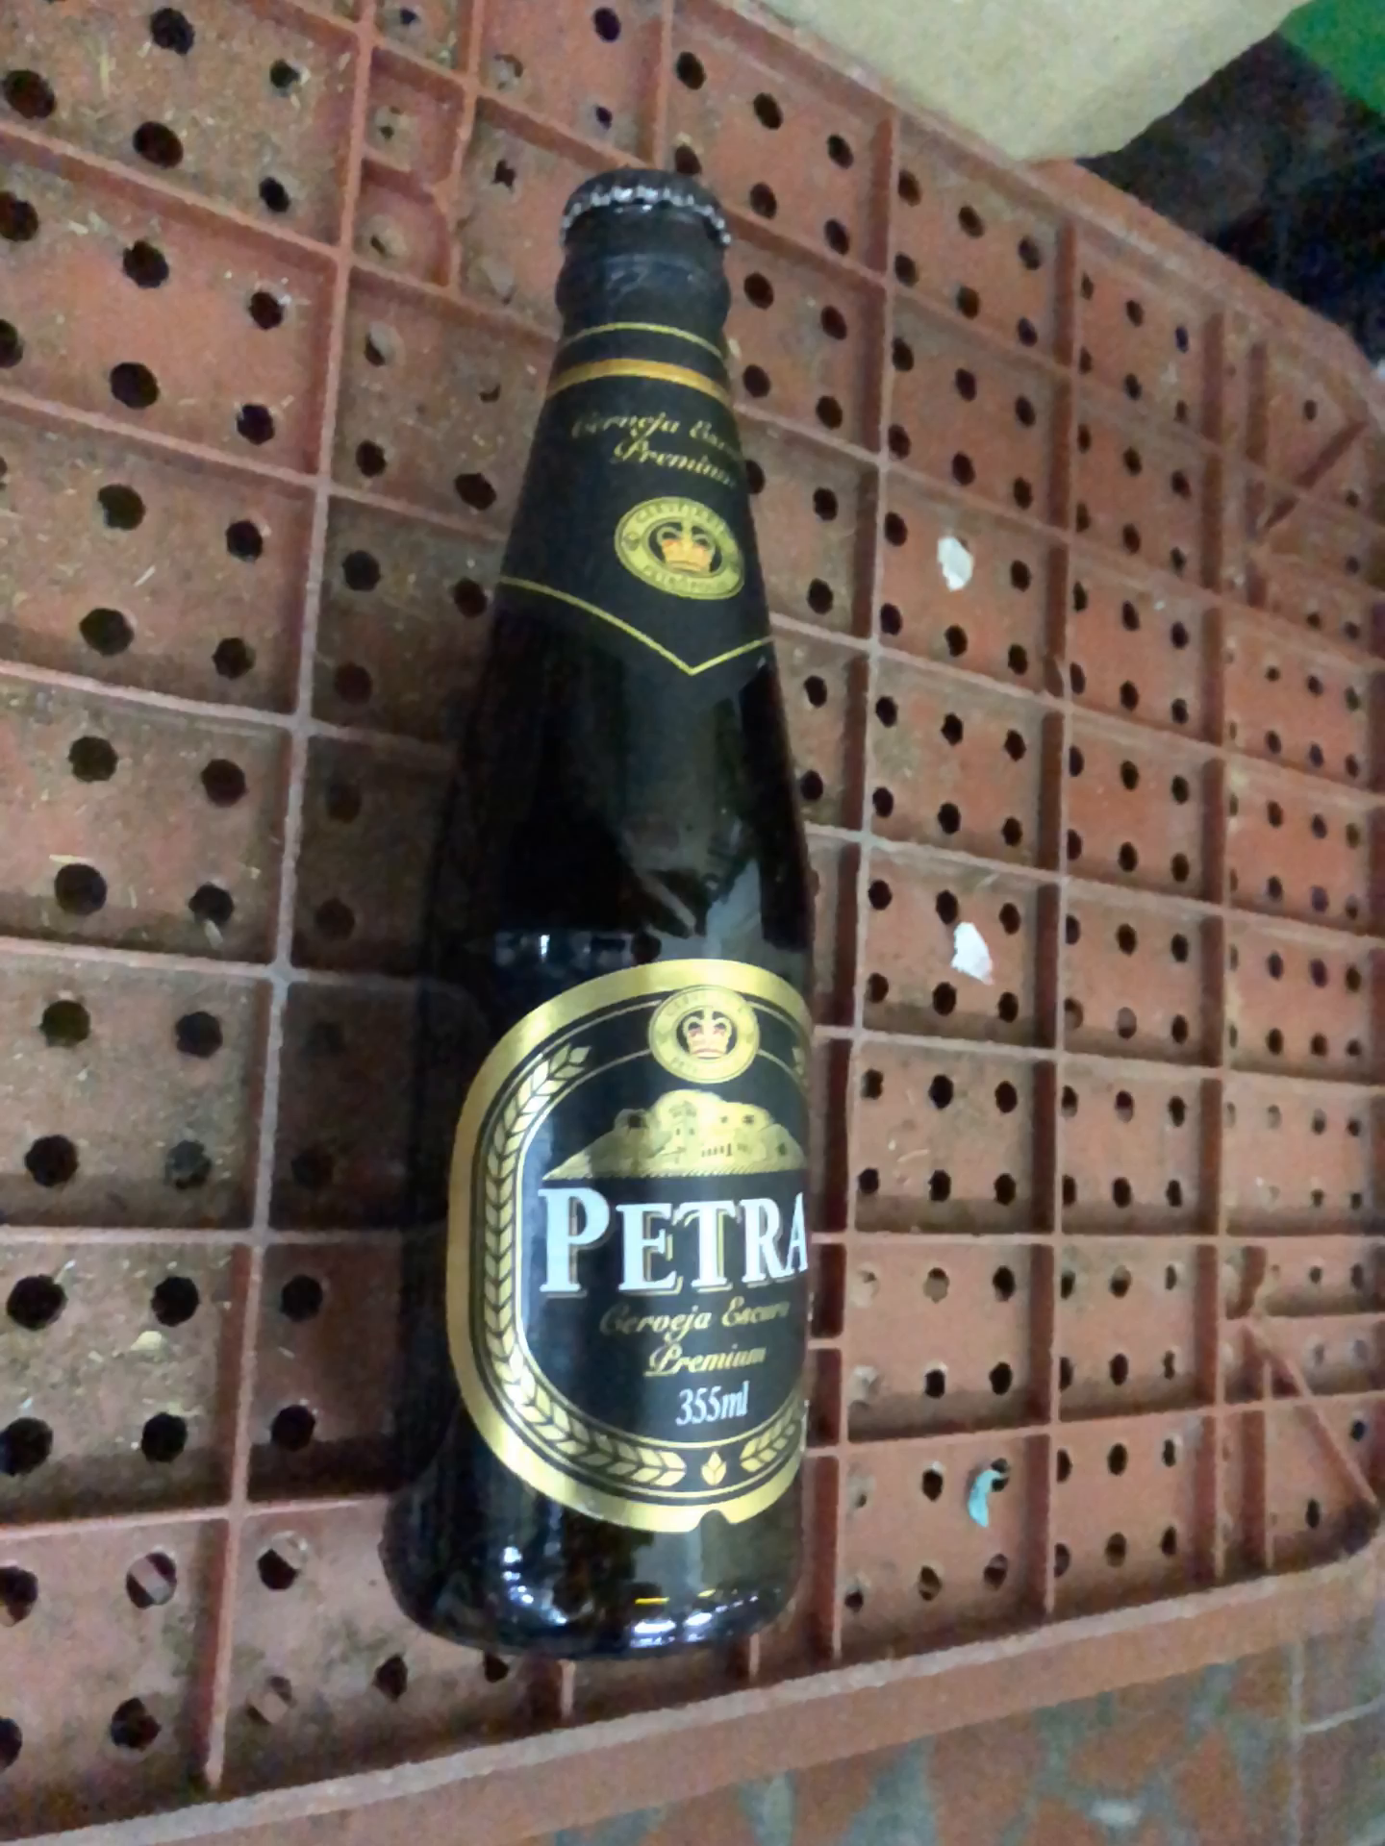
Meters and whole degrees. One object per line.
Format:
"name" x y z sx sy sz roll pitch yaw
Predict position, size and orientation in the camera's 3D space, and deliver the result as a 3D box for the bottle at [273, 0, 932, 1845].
"bottle" -0.012 -0.014 0.232 0.070 0.060 0.250 6 80 -36
